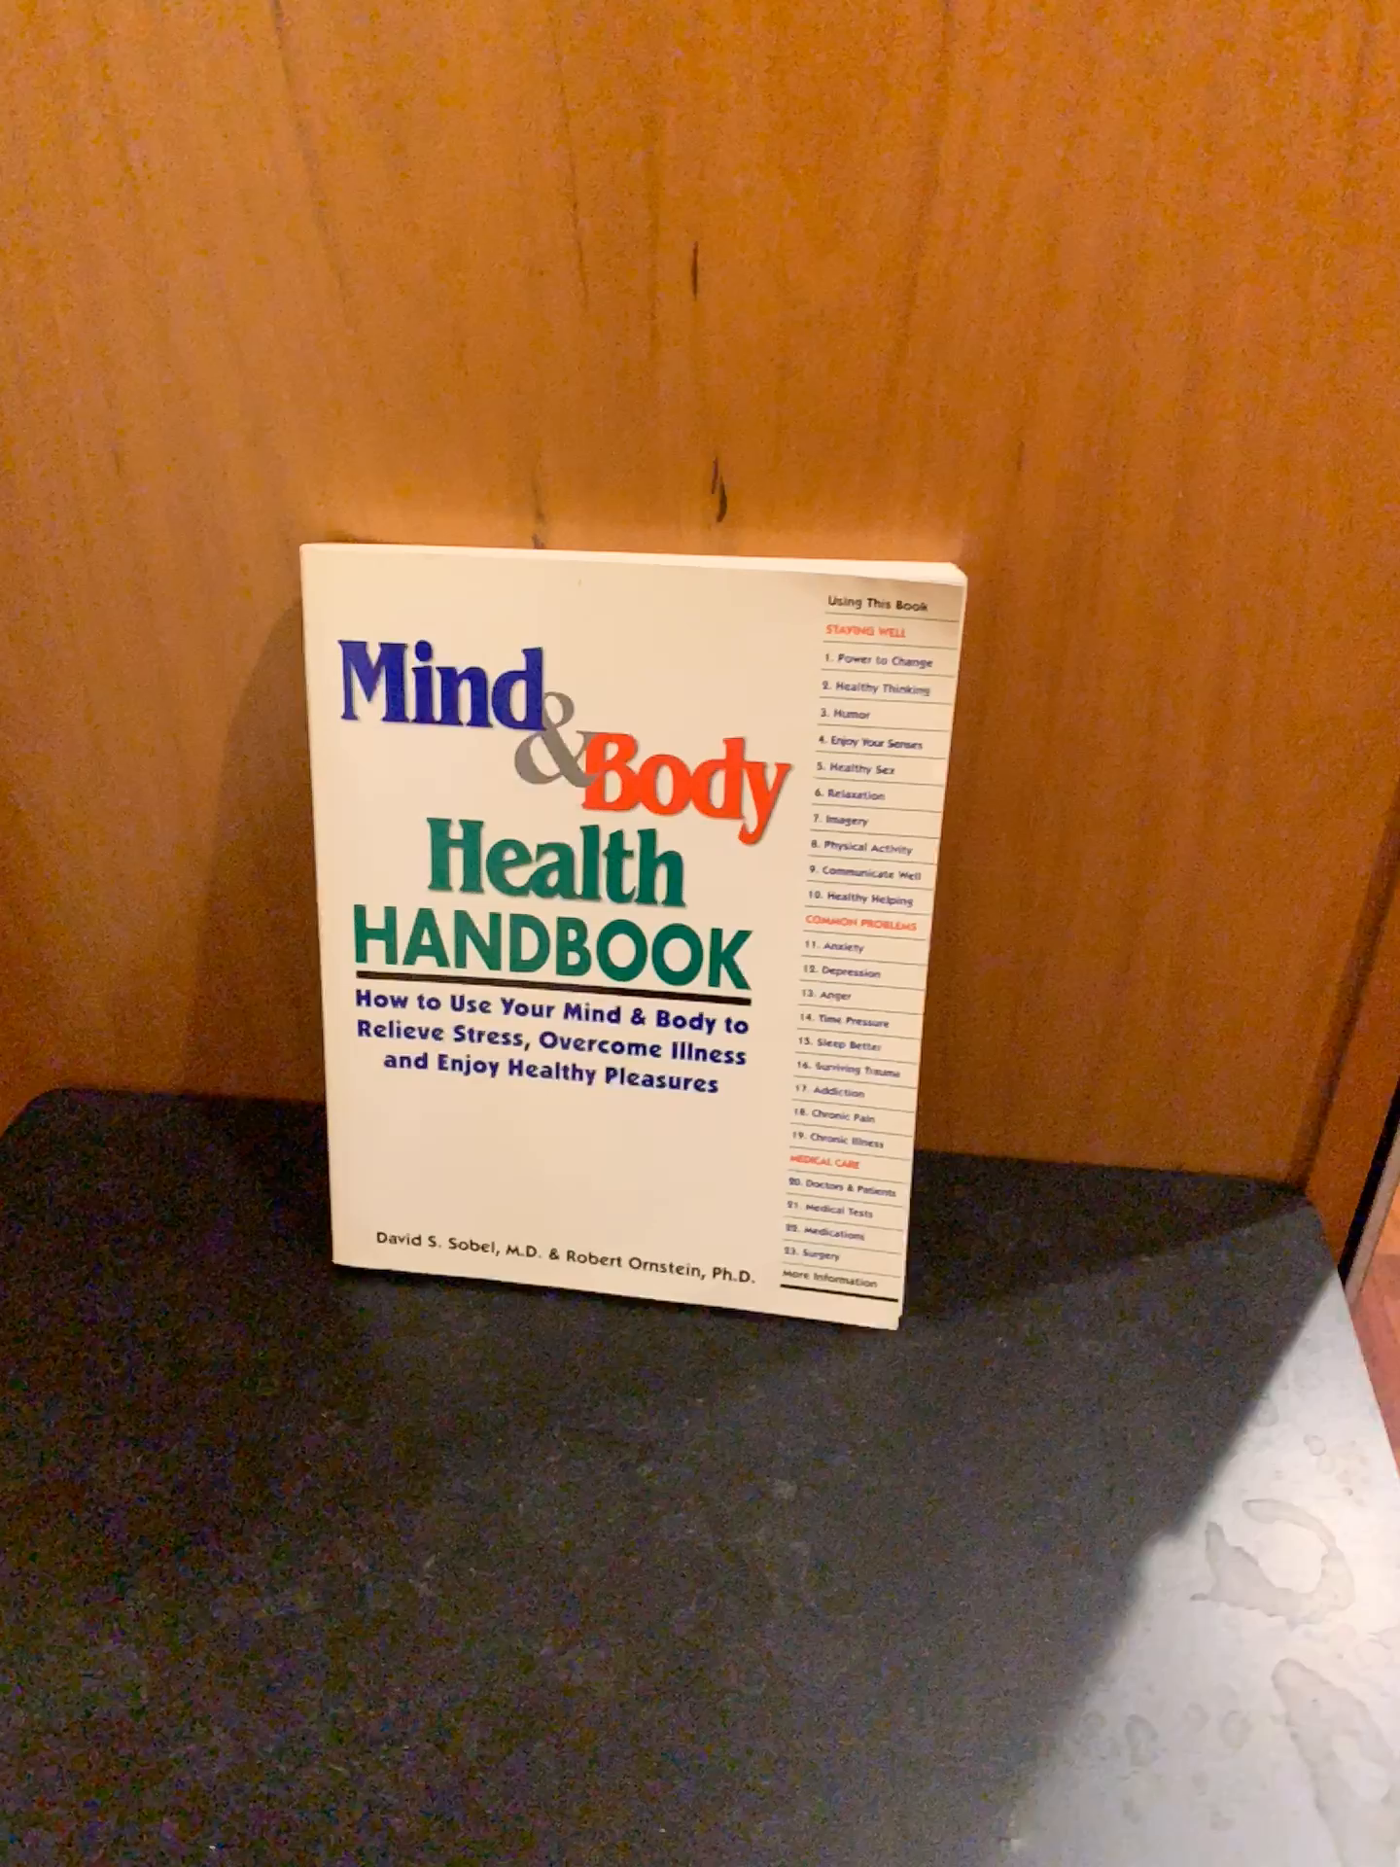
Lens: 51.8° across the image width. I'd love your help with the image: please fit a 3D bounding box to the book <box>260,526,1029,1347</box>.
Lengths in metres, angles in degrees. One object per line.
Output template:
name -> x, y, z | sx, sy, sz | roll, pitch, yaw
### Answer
book -> -0.020, 0.000, 0.436 | 0.210, 0.229, 0.040 | 5, 16, 8
